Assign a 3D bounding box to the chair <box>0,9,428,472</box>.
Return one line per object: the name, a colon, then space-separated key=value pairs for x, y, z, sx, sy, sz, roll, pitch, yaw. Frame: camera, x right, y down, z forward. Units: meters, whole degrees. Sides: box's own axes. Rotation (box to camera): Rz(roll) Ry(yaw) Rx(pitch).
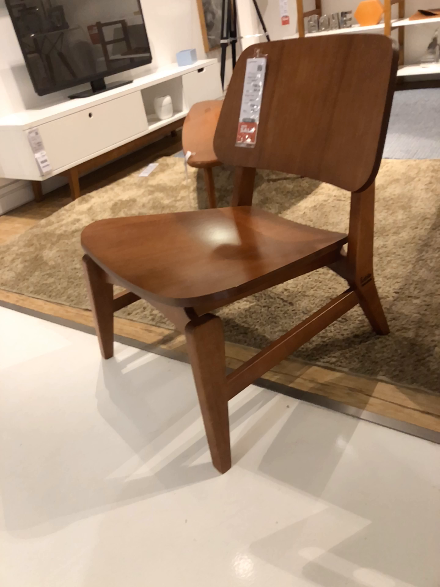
chair: x=-0.007 y=-0.181 z=1.081 sx=0.632 sy=0.655 sz=0.583 roll=-28 pitch=35 yaw=-27
